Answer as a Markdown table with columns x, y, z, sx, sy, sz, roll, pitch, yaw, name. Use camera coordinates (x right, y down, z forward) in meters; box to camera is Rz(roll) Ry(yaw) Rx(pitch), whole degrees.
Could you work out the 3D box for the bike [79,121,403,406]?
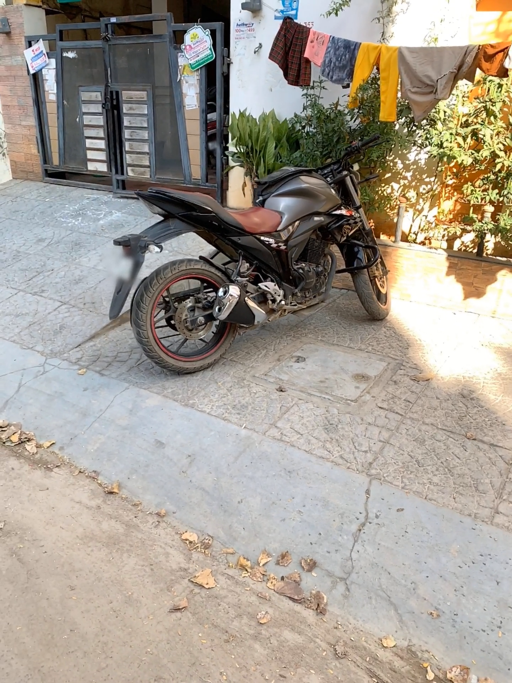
| x | y | z | sx | sy | sz | roll | pitch | yaw | name |
| --- | --- | --- | --- | --- | --- | --- | --- | --- | --- |
| -0.035 | -0.596 | 2.927 | 1.627 | 1.140 | 0.810 | -18 | 30 | -37 | bike |
